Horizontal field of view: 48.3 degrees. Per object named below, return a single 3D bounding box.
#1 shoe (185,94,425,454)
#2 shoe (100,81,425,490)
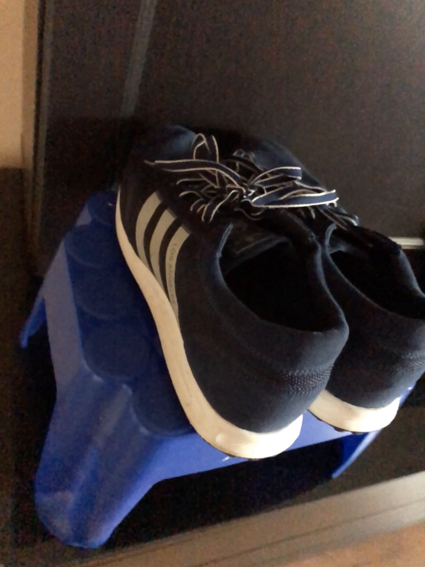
[{"bbox_3d":[0.077,-0.023,0.378,0.110,0.109,0.261,-2,51,-25],"label":"shoe"},{"bbox_3d":[0.009,-0.017,0.337,0.110,0.109,0.261,-4,52,-27],"label":"shoe"}]
